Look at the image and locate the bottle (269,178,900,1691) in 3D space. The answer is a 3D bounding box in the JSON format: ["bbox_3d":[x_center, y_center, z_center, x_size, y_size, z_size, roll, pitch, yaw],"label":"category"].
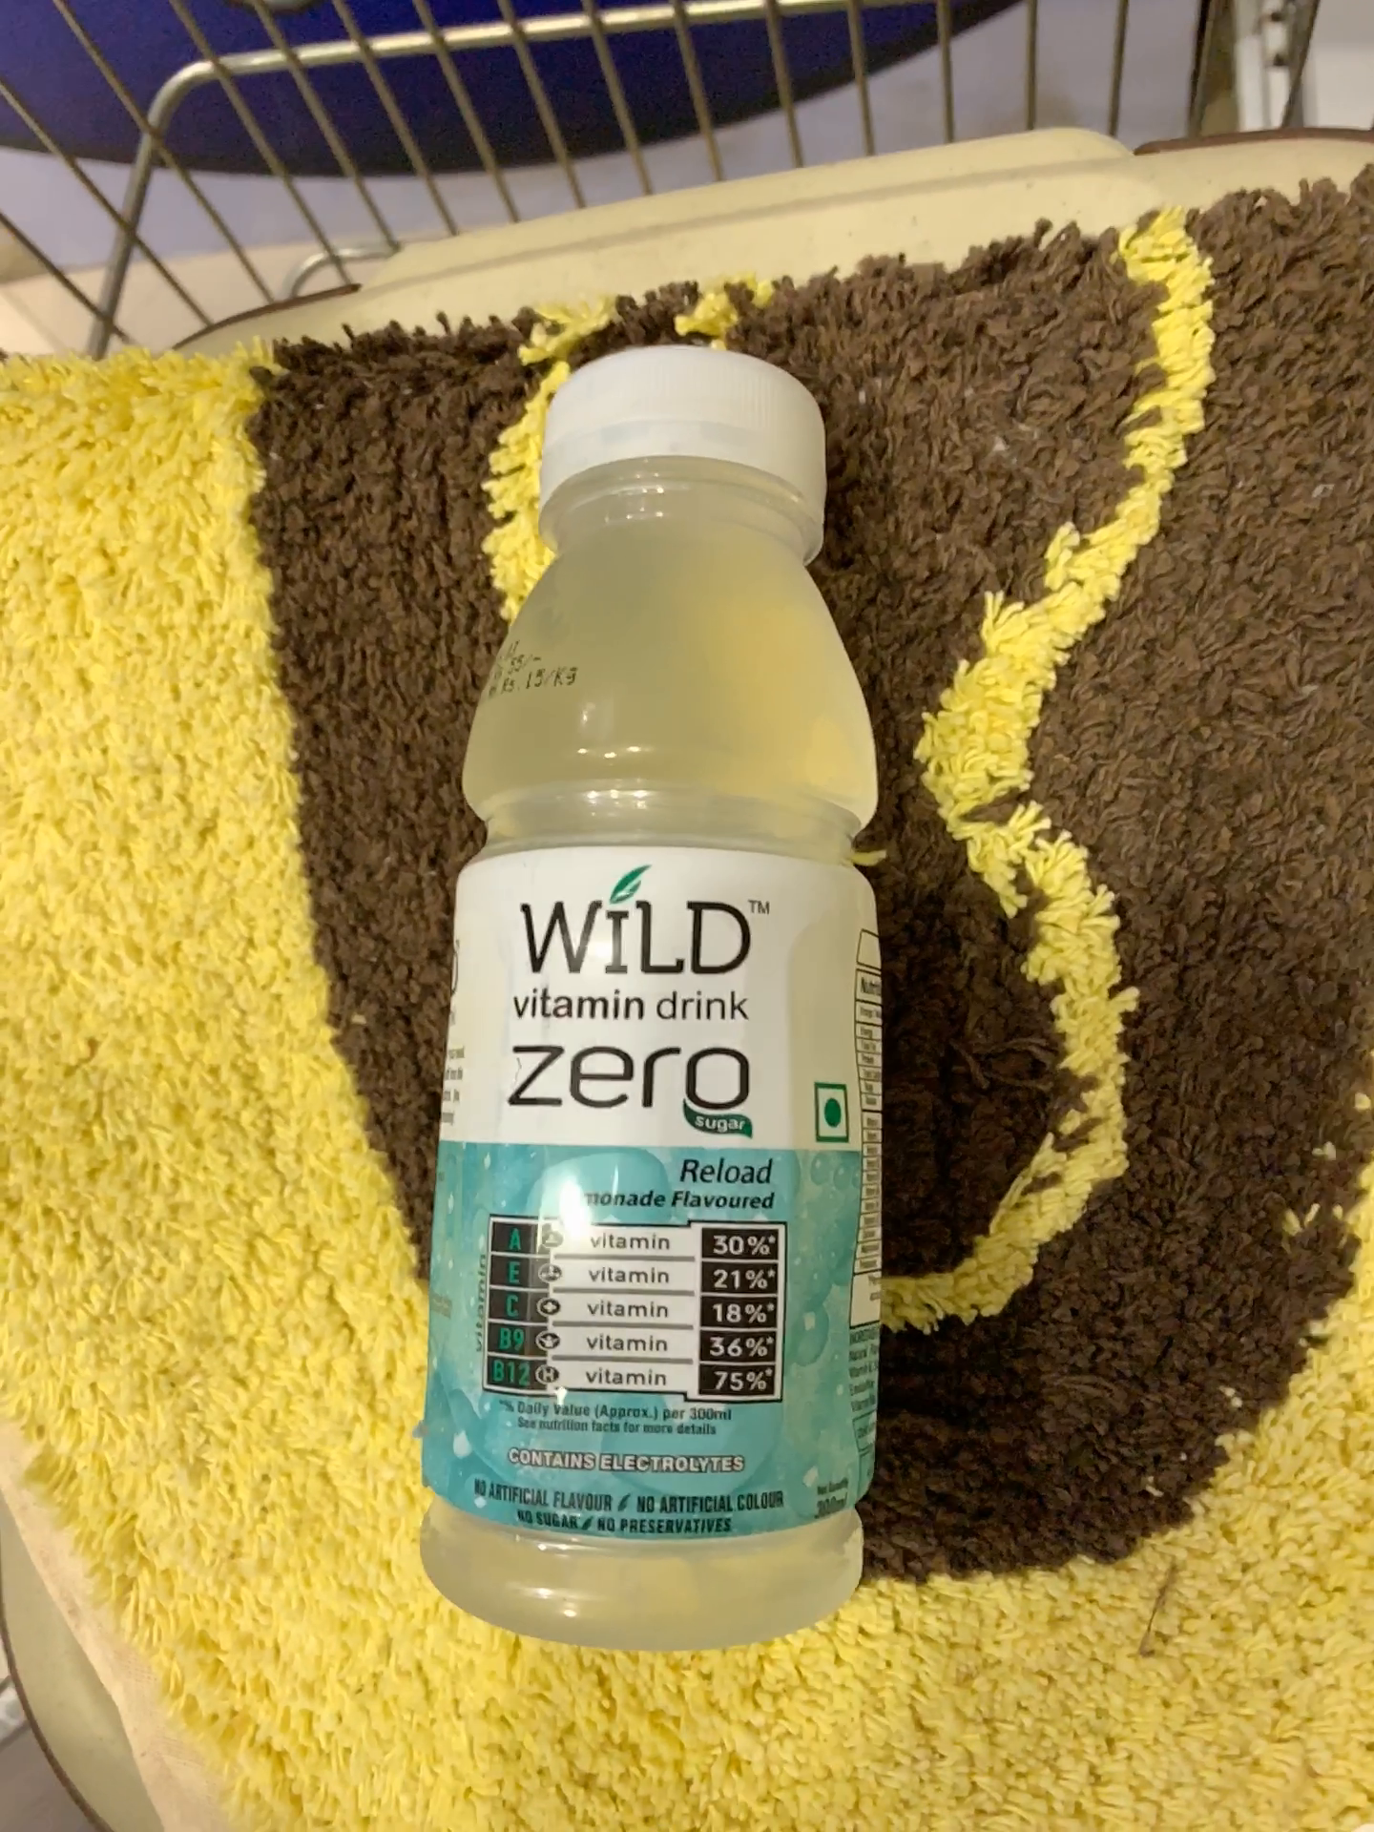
[{"bbox_3d":[-0.007,-0.002,0.176,0.060,0.040,0.160,0,80,14],"label":"bottle"}]
